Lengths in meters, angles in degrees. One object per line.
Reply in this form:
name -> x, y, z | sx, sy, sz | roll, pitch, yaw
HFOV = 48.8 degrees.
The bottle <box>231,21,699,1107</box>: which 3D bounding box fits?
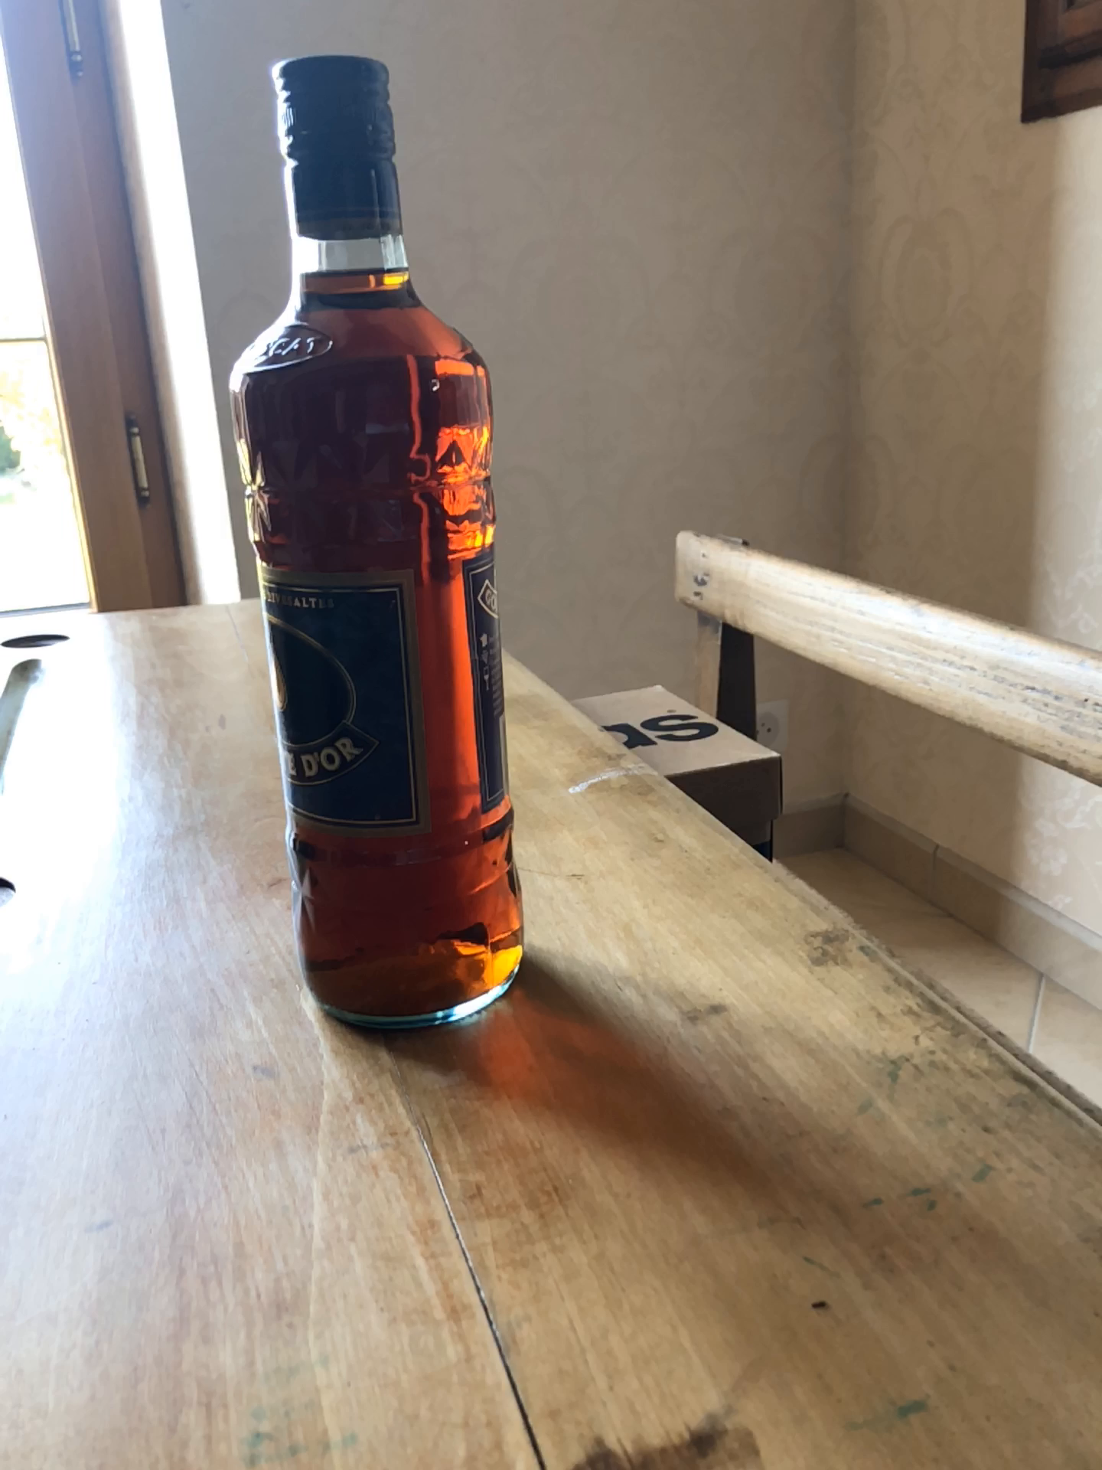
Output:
bottle -> -0.023, -0.045, 0.366 | 0.100, 0.279, 0.090 | -9, 18, -17
